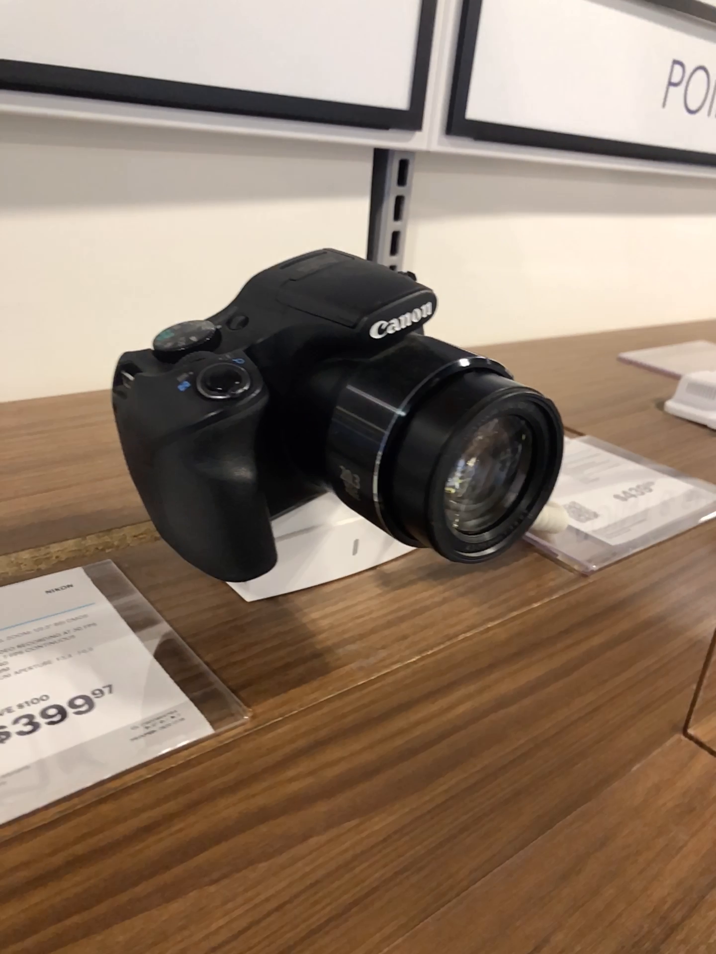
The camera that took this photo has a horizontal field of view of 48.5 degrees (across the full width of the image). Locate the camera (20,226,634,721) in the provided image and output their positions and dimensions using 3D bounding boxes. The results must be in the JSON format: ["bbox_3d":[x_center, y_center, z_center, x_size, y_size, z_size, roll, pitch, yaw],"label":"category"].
[{"bbox_3d":[-0.011,-0.020,0.262,0.130,0.069,0.141,-30,39,-31],"label":"camera"}]
